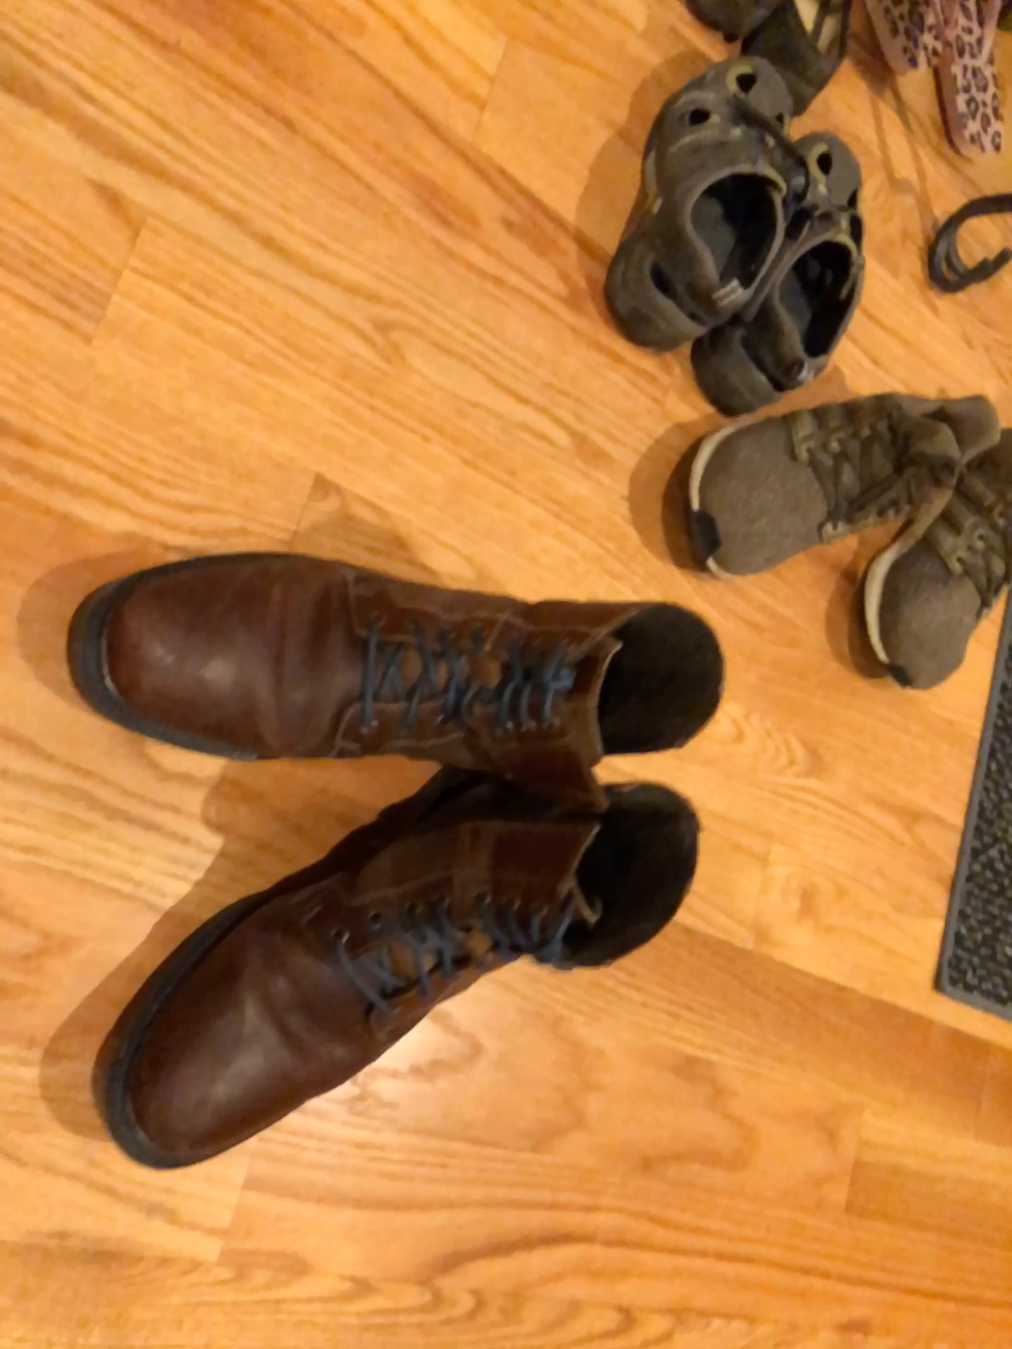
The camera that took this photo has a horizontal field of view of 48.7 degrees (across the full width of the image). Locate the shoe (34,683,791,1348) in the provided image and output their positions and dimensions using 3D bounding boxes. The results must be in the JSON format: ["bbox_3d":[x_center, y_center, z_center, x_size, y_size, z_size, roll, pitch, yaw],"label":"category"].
[{"bbox_3d":[-0.038,0.144,0.544,0.304,0.176,0.128,-39,110,-30],"label":"shoe"}]

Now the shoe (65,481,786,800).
[{"bbox_3d":[-0.032,0.001,0.553,0.311,0.168,0.113,5,85,-35],"label":"shoe"}]
